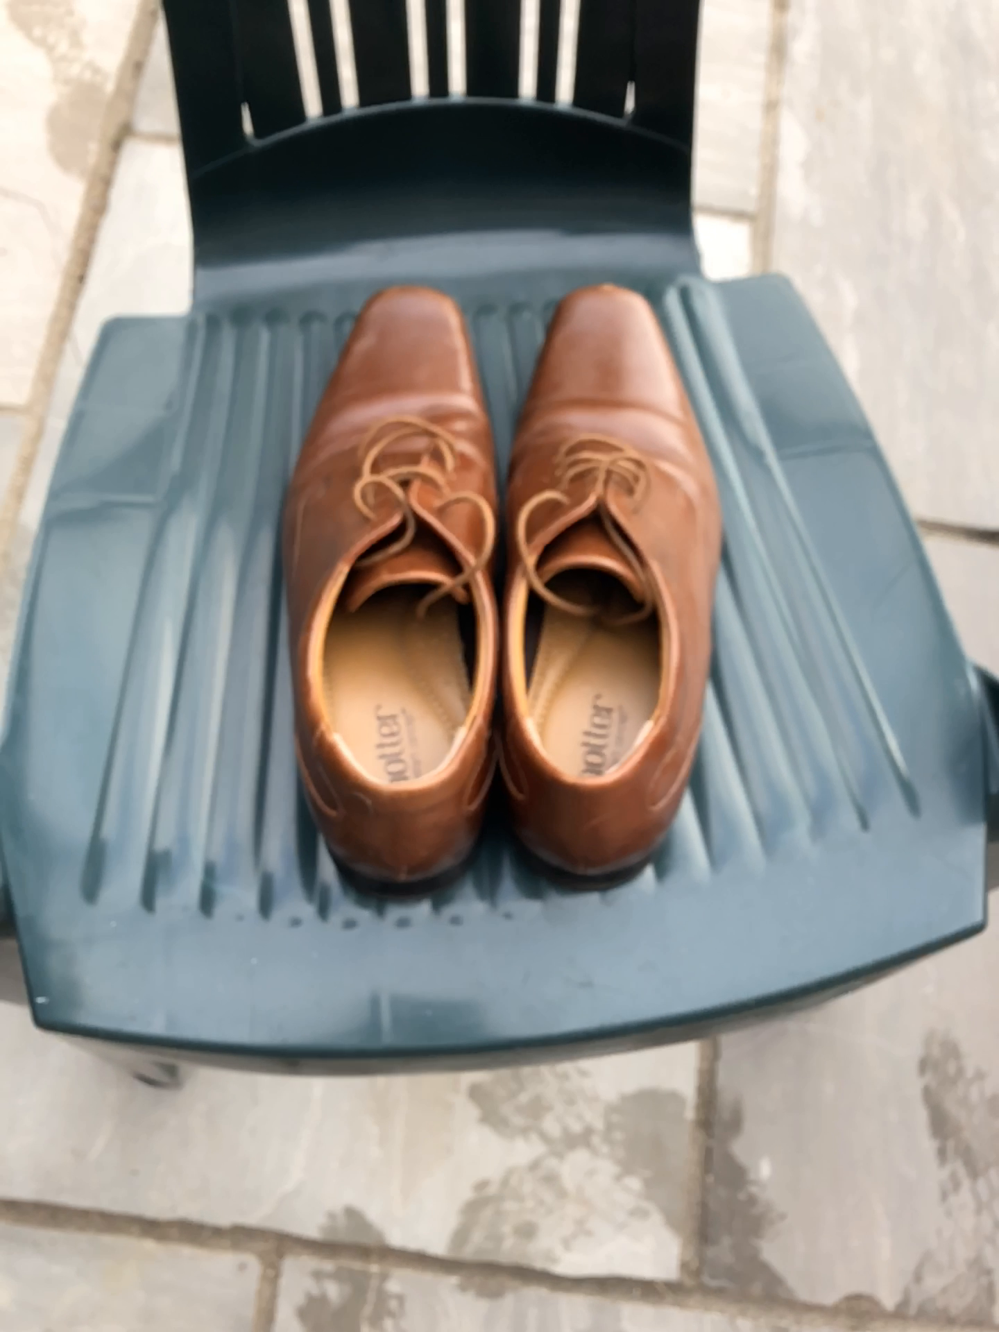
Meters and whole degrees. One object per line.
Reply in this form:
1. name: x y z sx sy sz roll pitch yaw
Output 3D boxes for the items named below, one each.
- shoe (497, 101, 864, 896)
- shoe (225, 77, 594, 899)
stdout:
1. shoe: 0.064 -0.061 0.436 0.110 0.110 0.281 4 73 -1
2. shoe: -0.027 -0.064 0.429 0.110 0.110 0.291 1 73 -1
